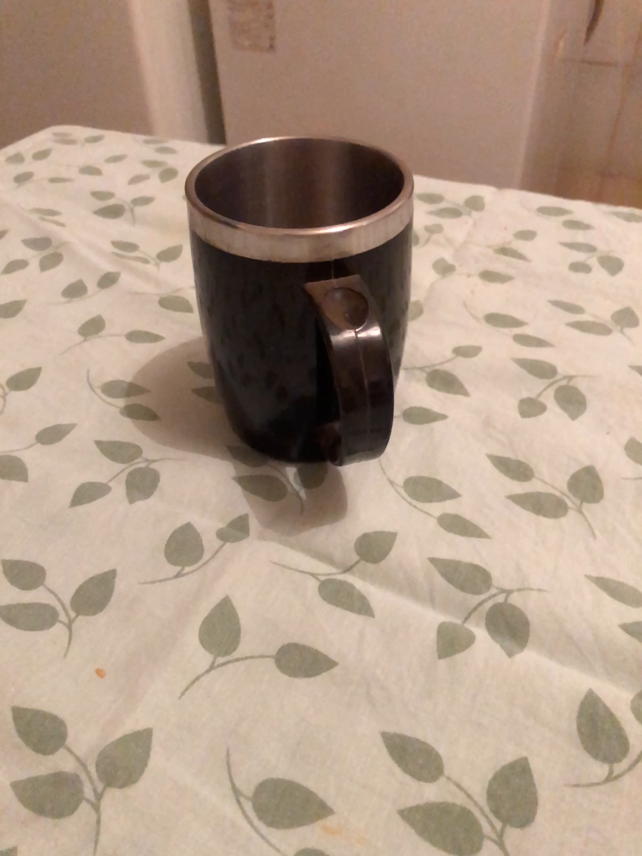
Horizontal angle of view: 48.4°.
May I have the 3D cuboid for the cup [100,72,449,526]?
[{"bbox_3d":[-0.024,-0.058,0.296,0.090,0.119,0.131,-15,45,-14],"label":"cup"}]
